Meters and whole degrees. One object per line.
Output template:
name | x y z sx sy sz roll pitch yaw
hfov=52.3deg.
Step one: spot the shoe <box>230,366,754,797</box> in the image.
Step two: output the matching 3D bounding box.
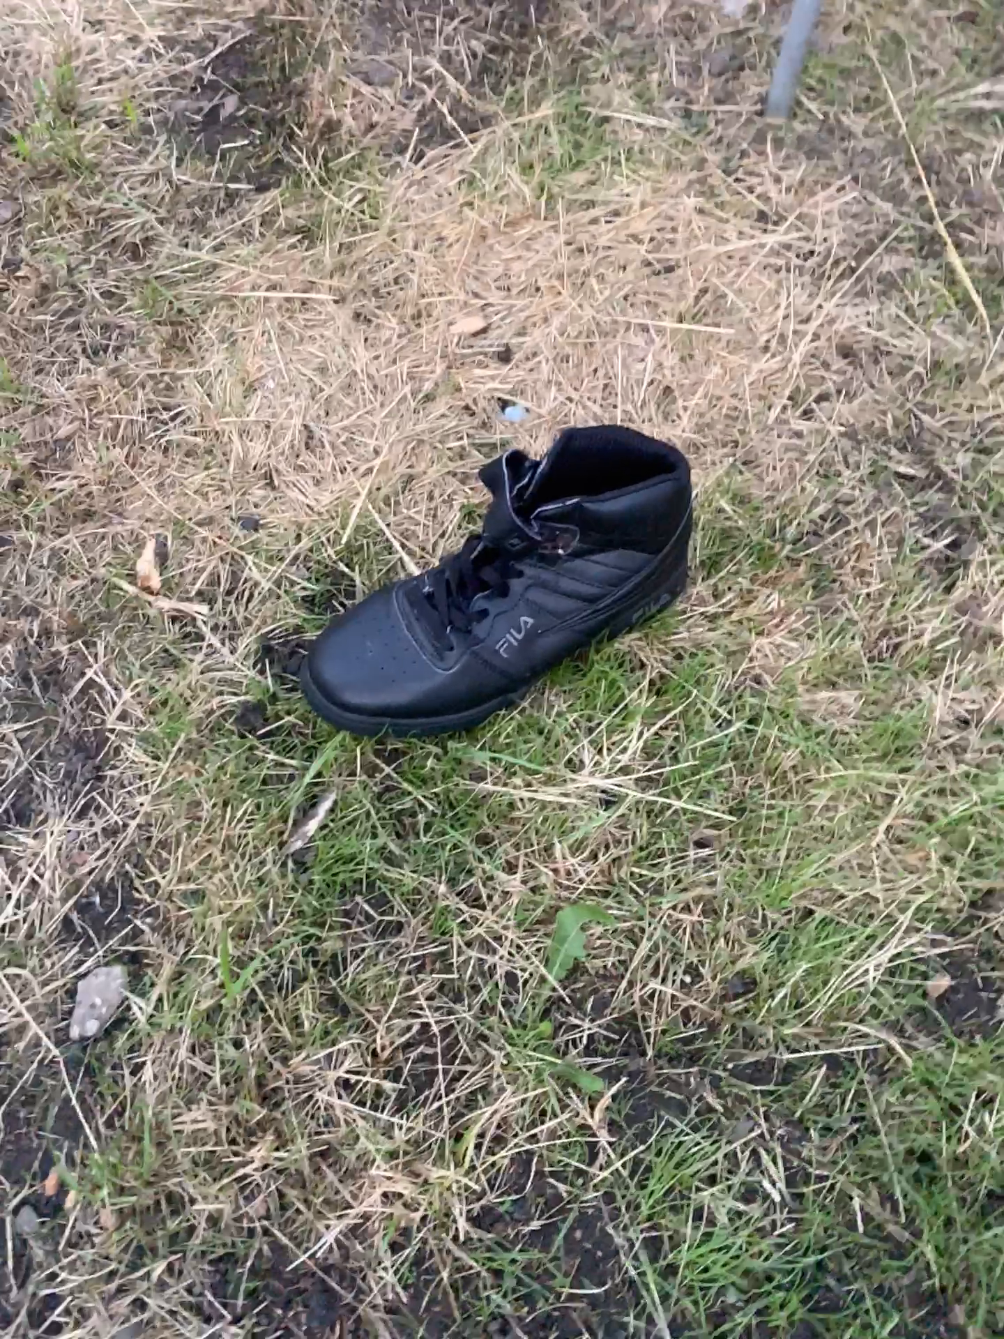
shoe | -0.004 -0.048 0.602 0.260 0.139 0.100 -27 69 -12
